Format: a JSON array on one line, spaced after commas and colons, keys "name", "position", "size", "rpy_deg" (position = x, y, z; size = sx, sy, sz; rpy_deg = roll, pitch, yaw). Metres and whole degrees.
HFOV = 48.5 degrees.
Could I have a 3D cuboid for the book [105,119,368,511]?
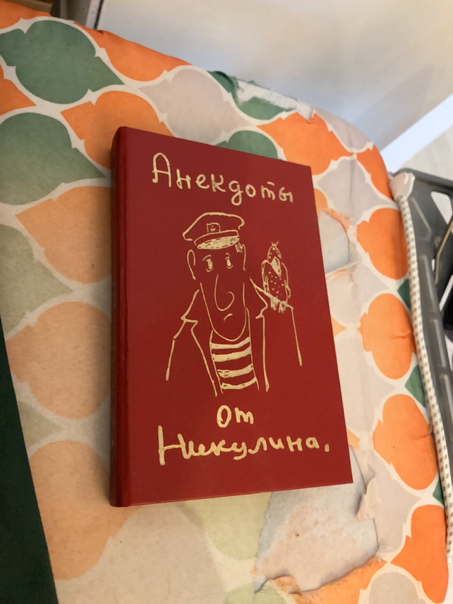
[{"name": "book", "position": [0.002, 0.003, 0.297], "size": [0.140, 0.030, 0.208], "rpy_deg": [4, 70, -25]}]
